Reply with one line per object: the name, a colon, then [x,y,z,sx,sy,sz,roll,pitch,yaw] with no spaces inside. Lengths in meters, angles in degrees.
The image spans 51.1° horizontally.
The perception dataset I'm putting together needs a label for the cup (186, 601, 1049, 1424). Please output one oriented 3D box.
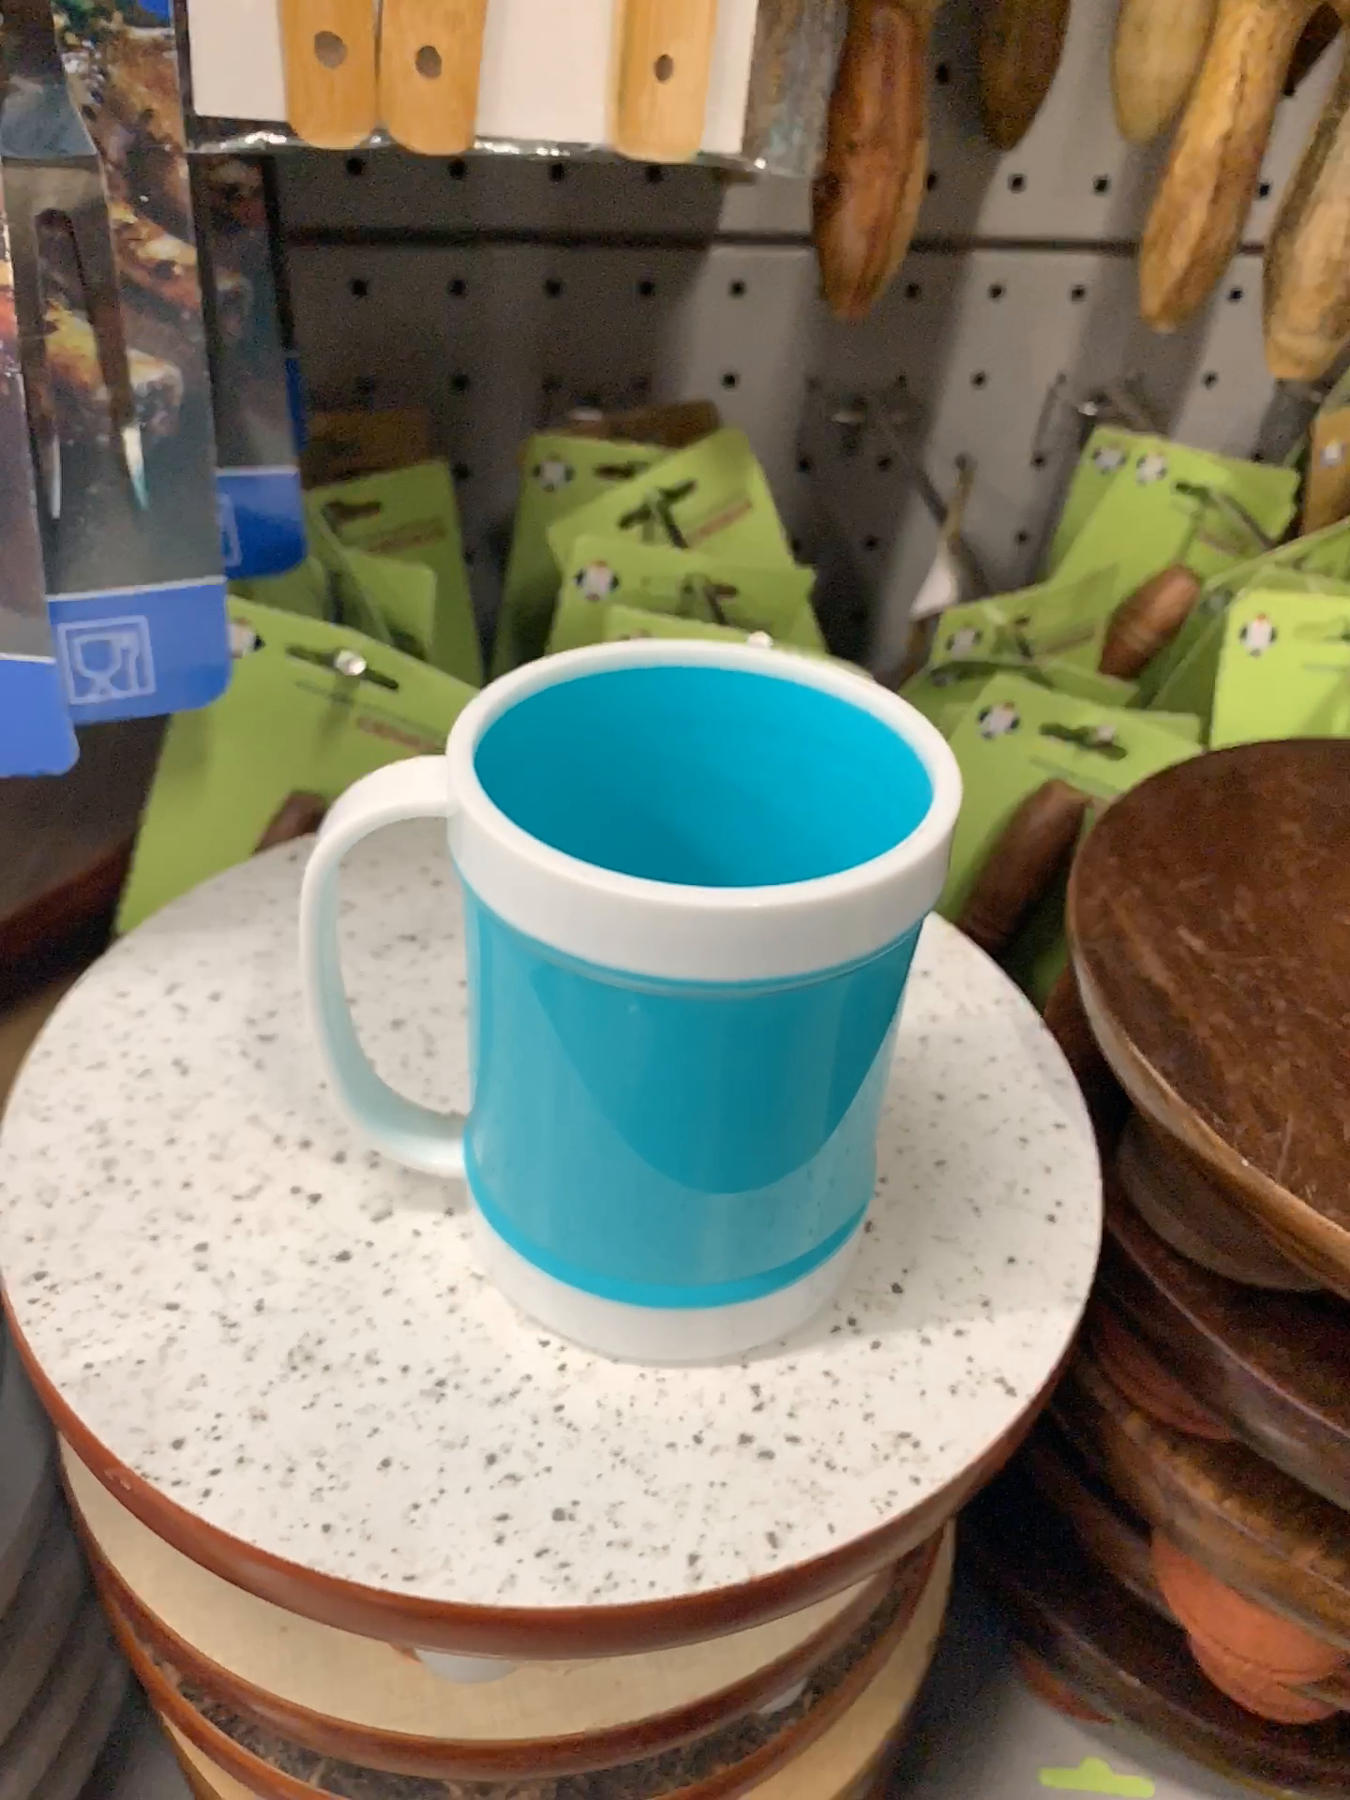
cup: [-0.009,0.019,0.244,0.110,0.110,0.080,3,35,-1]
